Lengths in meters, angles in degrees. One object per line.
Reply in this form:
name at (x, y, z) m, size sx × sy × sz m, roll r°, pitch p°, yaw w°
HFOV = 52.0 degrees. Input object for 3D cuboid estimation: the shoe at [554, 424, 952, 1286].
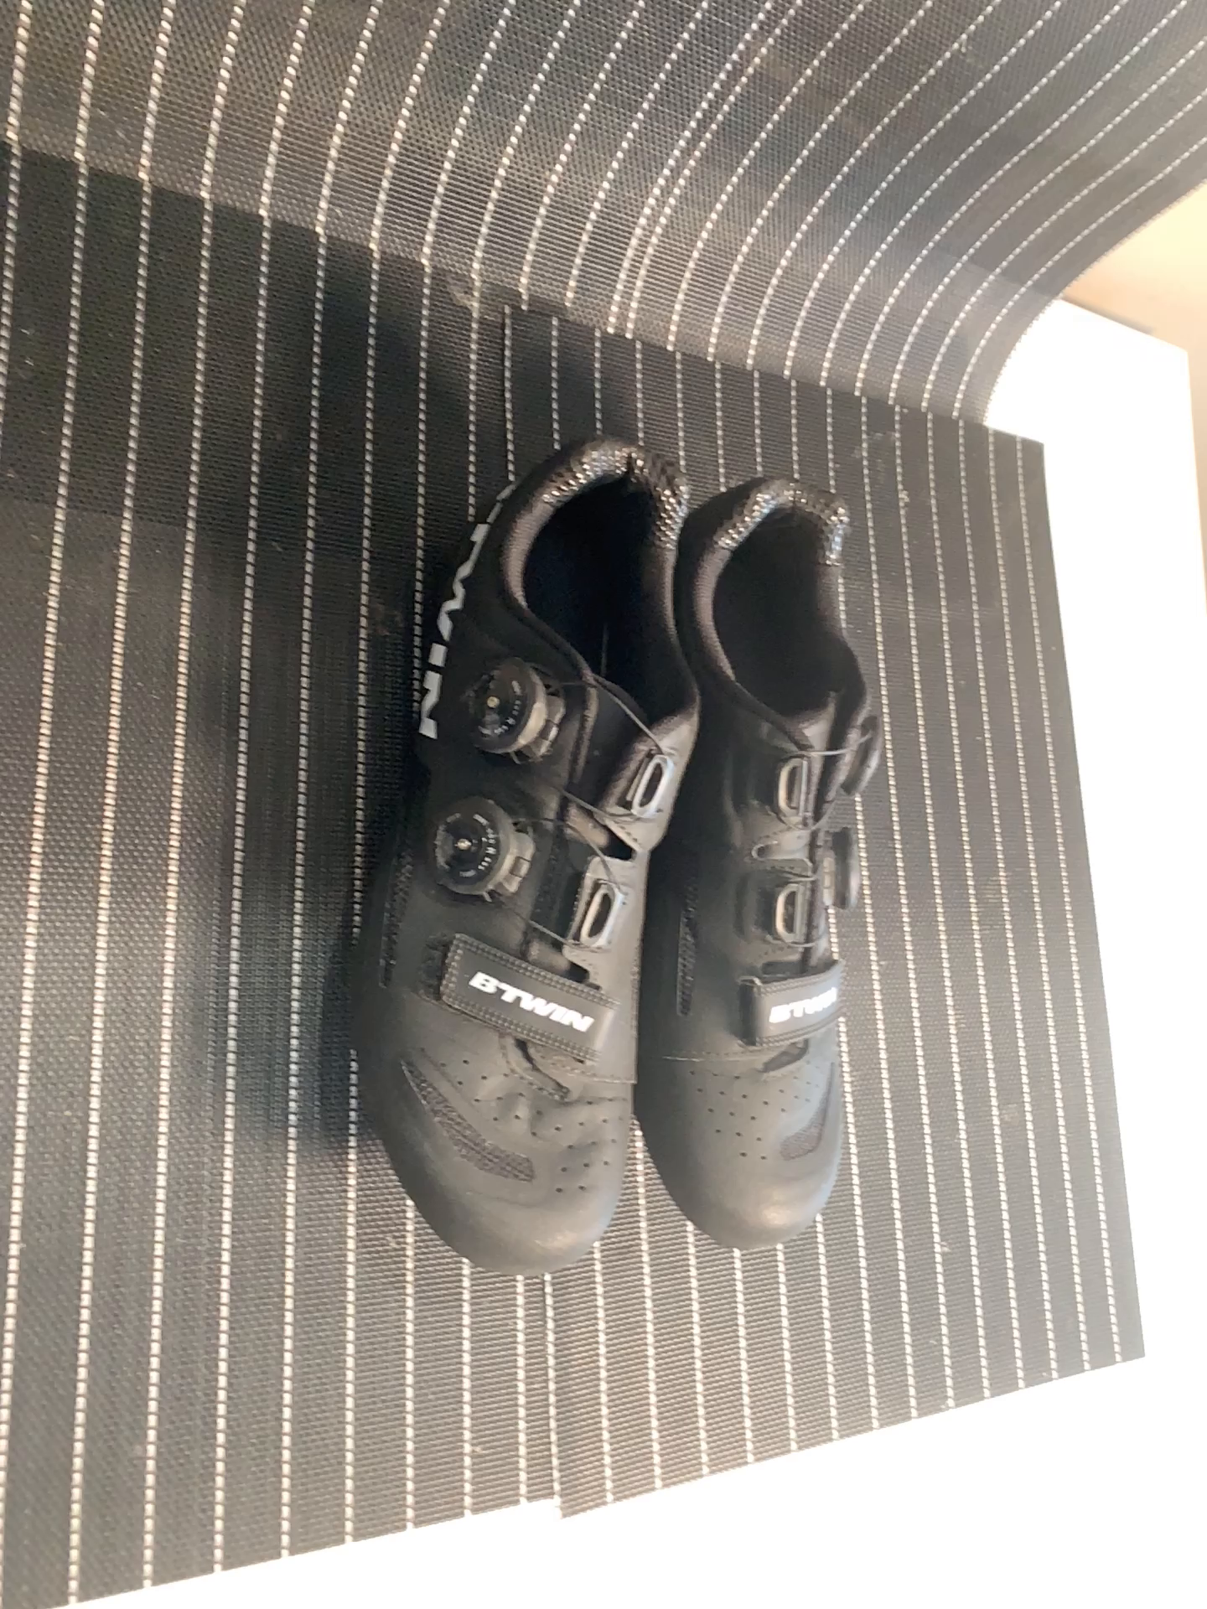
shoe at (0.053, 0.020, 0.445) m, size 0.100 × 0.090 × 0.270 m, roll 8°, pitch 77°, yaw -28°

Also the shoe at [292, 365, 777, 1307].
shoe at (-0.019, 0.014, 0.395) m, size 0.100 × 0.090 × 0.260 m, roll 12°, pitch 75°, yaw -27°
